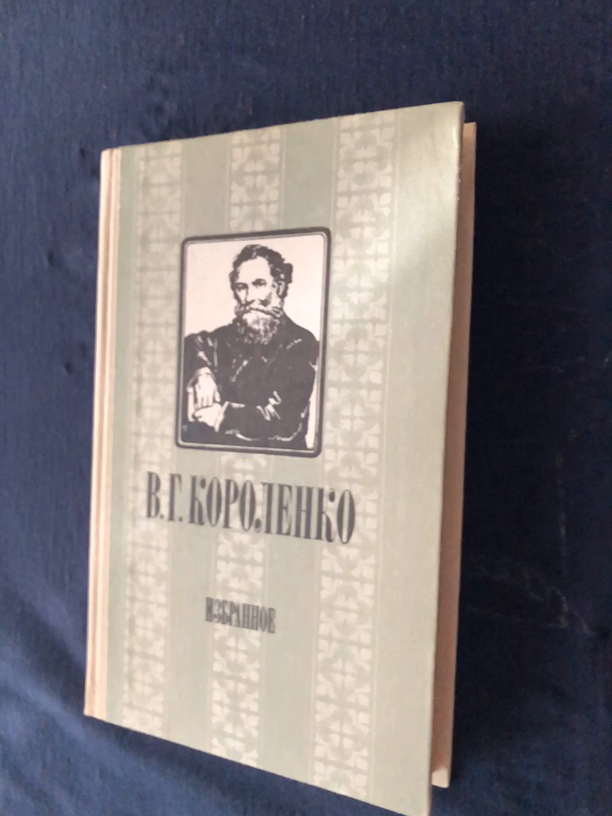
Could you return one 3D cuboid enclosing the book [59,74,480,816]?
[{"bbox_3d":[-0.017,0.011,0.229,0.132,0.030,0.210,3,91,24],"label":"book"}]
